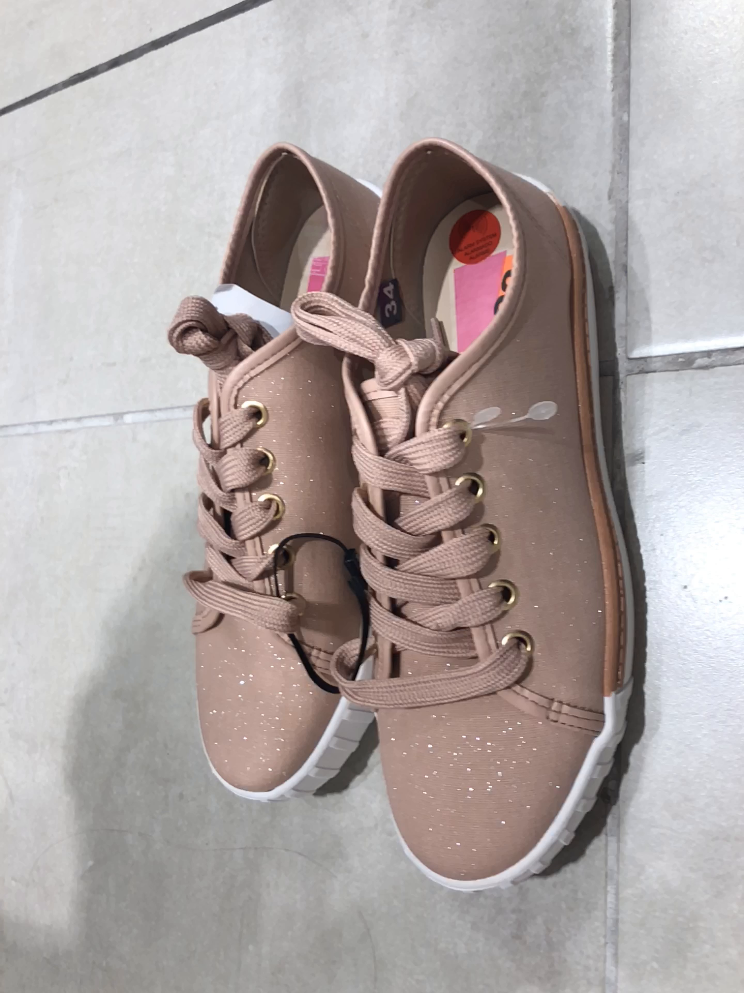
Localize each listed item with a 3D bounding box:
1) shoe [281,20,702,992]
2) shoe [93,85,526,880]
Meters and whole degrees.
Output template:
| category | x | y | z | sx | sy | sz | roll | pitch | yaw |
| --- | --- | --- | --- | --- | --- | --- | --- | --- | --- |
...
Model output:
| category | x | y | z | sx | sy | sz | roll | pitch | yaw |
| --- | --- | --- | --- | --- | --- | --- | --- | --- | --- |
| shoe | 0.045 | 0.007 | 0.259 | 0.090 | 0.100 | 0.240 | -2 | 82 | 32 |
| shoe | -0.017 | -0.005 | 0.314 | 0.090 | 0.100 | 0.240 | 5 | 86 | 33 |
